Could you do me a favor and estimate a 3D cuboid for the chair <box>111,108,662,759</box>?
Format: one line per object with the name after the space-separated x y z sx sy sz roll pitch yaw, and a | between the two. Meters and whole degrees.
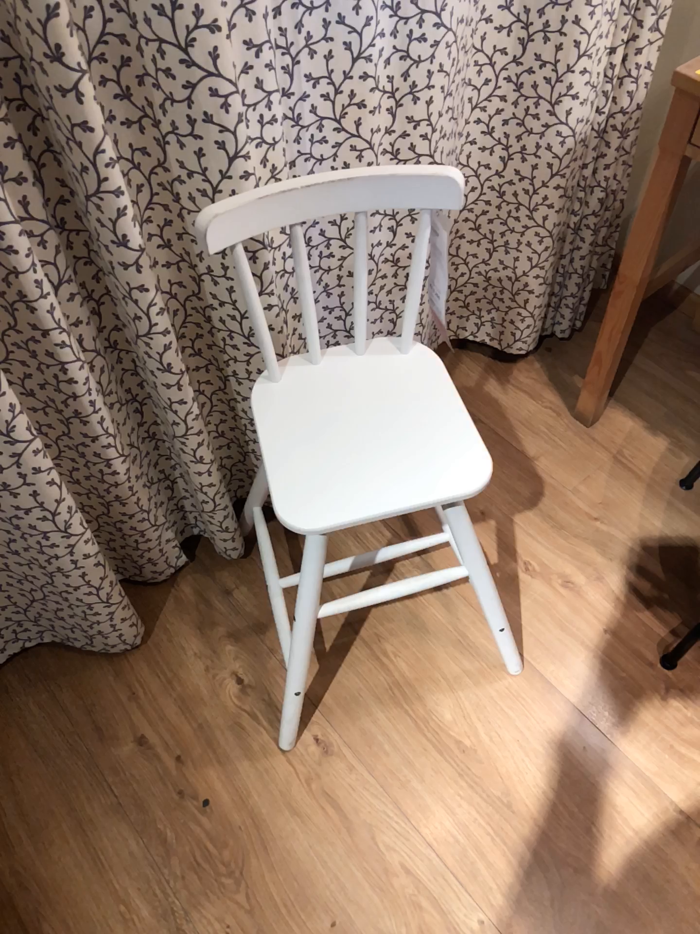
0.013 0.004 1.044 0.420 0.706 0.452 -16 54 -9 | chair
